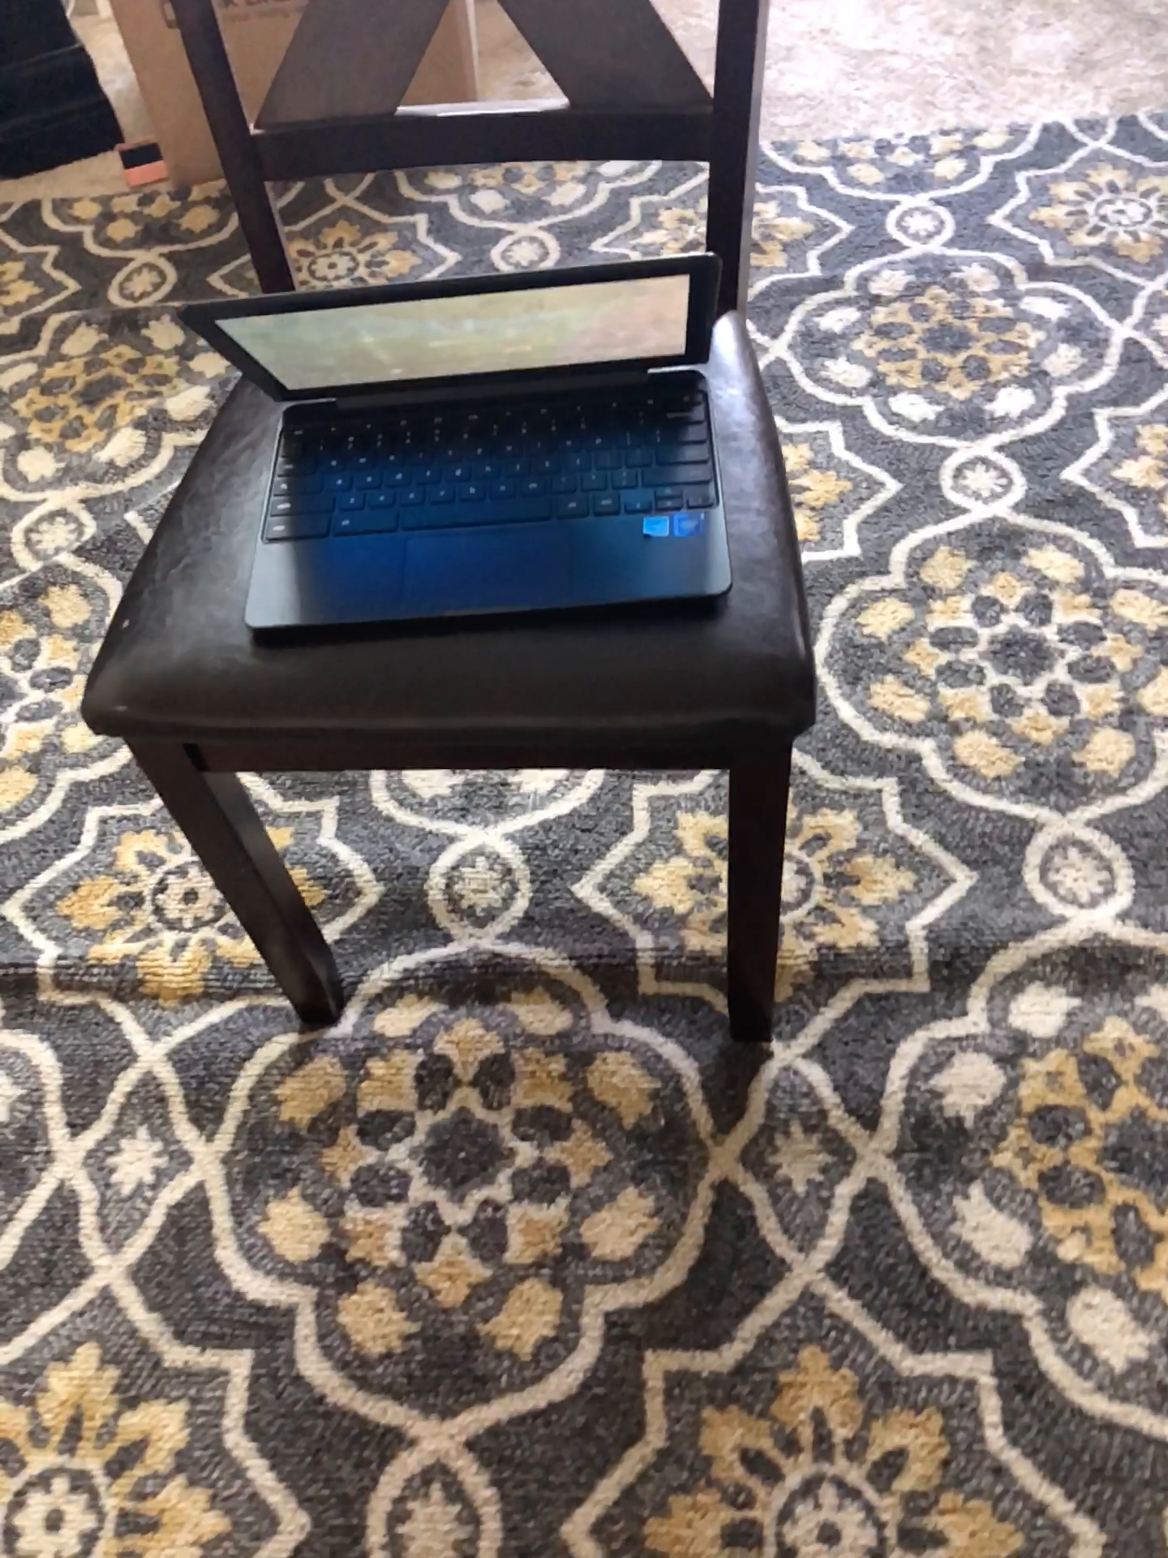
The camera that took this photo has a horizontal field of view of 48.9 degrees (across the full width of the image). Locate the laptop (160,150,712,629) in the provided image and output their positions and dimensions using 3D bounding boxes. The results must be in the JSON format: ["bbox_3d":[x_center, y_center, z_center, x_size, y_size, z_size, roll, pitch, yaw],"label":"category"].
[{"bbox_3d":[-0.068,-0.218,0.725,0.263,0.155,0.192,-3,54,2],"label":"laptop"}]
